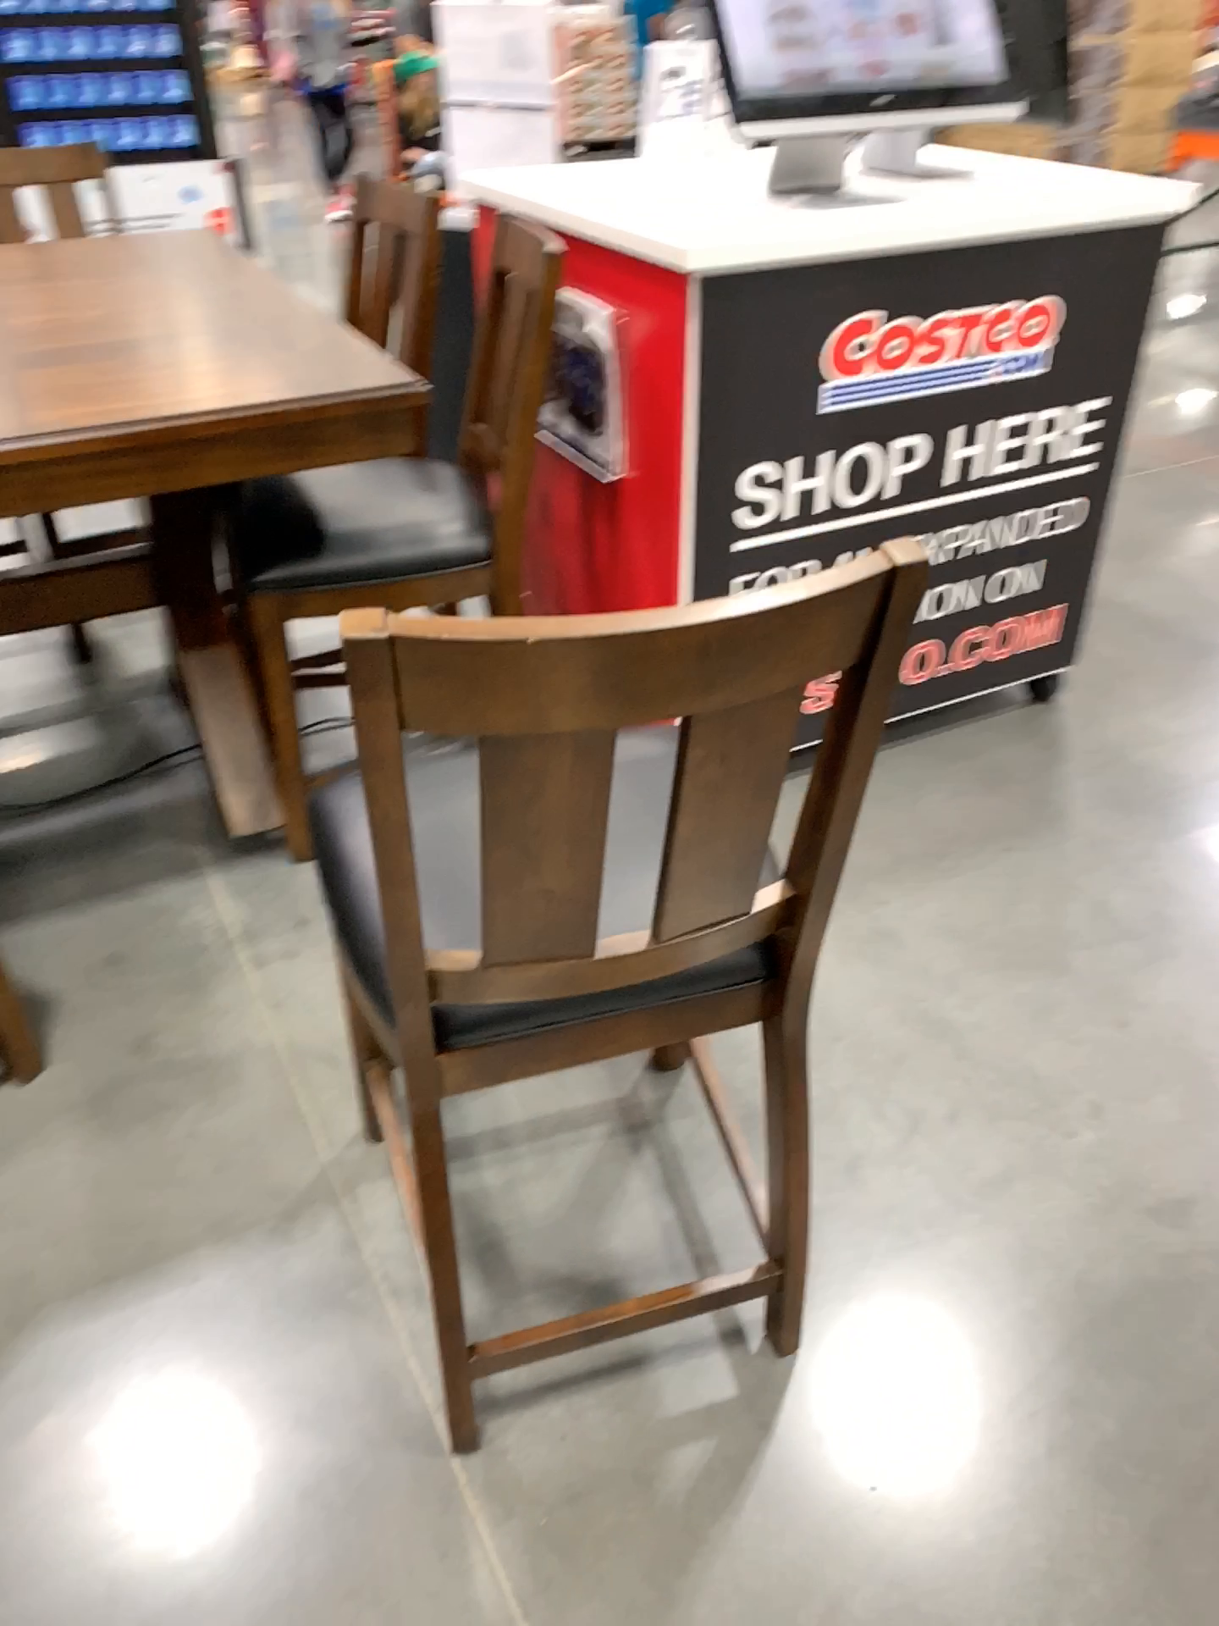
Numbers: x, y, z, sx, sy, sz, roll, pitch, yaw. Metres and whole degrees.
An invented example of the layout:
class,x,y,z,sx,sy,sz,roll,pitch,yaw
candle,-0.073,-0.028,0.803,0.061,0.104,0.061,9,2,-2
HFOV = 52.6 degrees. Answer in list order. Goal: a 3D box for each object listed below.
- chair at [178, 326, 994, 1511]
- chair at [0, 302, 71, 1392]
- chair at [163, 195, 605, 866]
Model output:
class,x,y,z,sx,sy,sz,roll,pitch,yaw
chair,-0.070,0.103,1.313,0.524,1.021,0.590,-11,35,-16
chair,-1.180,0.025,1.441,0.545,1.021,0.590,13,36,19
chair,-0.394,-0.529,2.227,0.597,0.952,0.658,-10,35,-14
